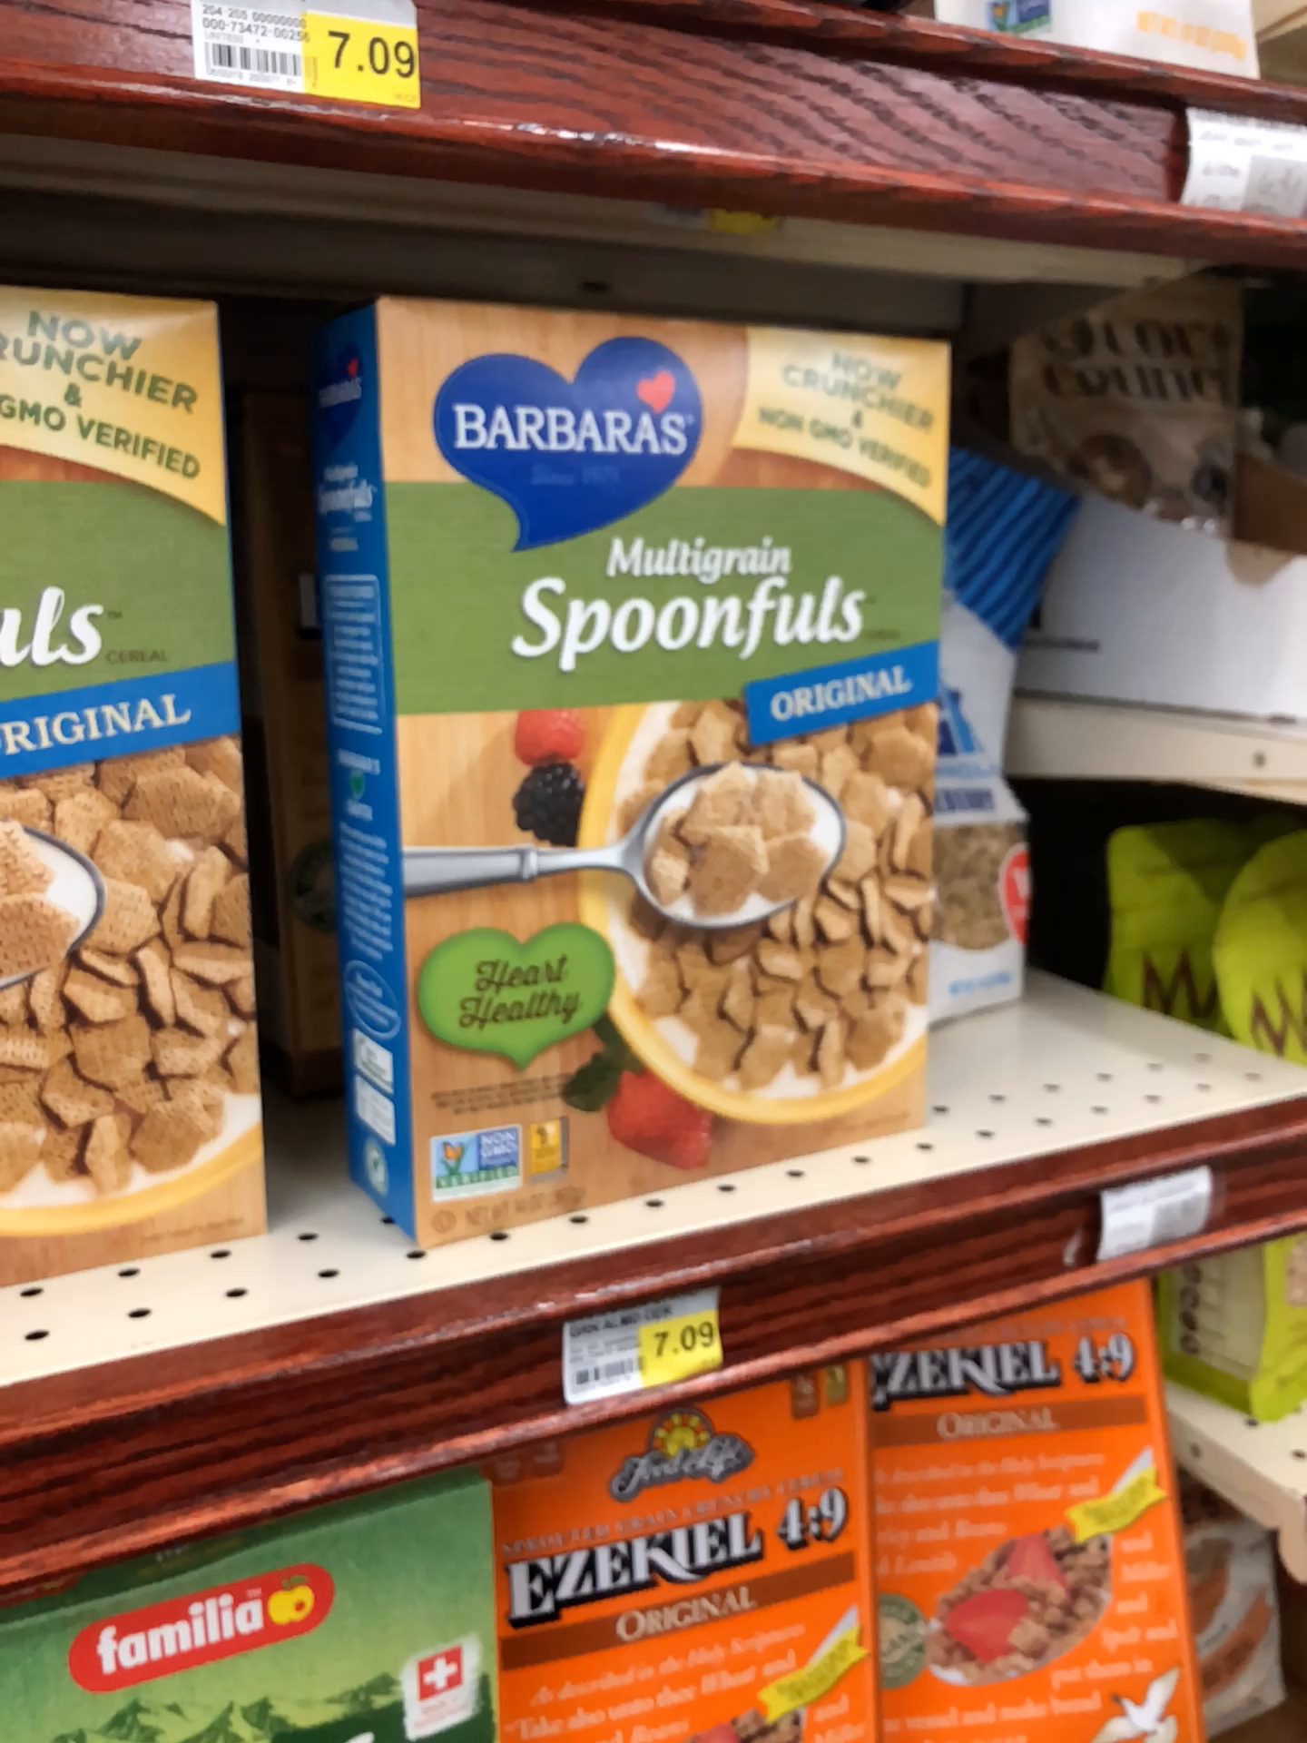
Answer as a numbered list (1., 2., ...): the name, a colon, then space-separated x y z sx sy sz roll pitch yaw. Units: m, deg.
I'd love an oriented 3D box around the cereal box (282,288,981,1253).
1. cereal box: 0.001 -0.035 0.451 0.200 0.250 0.060 -8 13 -29
